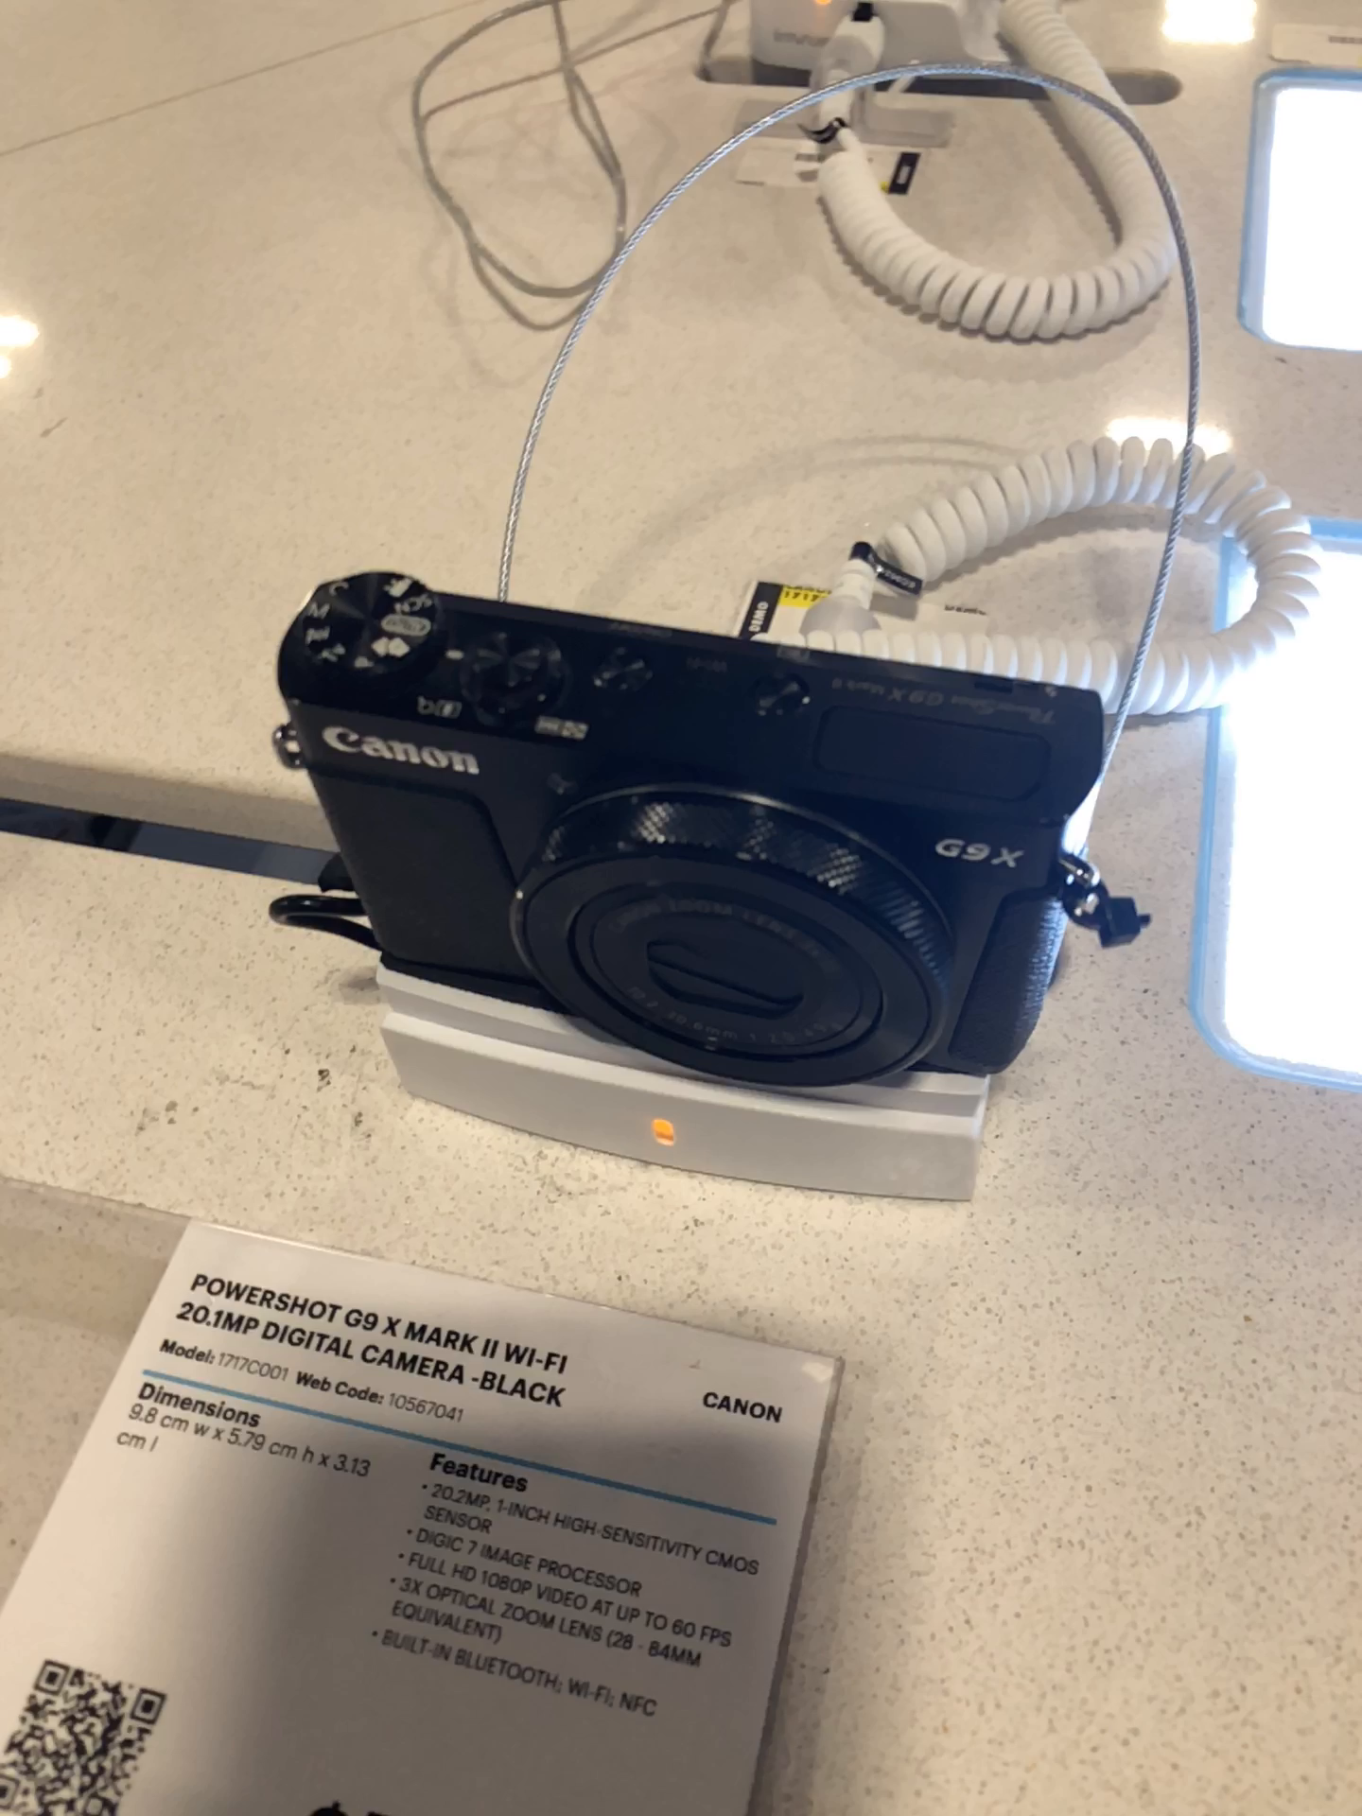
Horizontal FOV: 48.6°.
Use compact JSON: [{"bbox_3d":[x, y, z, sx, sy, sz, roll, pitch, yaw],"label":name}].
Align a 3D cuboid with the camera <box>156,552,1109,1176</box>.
[{"bbox_3d":[-0.004,-0.005,0.188,0.100,0.060,0.030,11,55,13],"label":"camera"}]
